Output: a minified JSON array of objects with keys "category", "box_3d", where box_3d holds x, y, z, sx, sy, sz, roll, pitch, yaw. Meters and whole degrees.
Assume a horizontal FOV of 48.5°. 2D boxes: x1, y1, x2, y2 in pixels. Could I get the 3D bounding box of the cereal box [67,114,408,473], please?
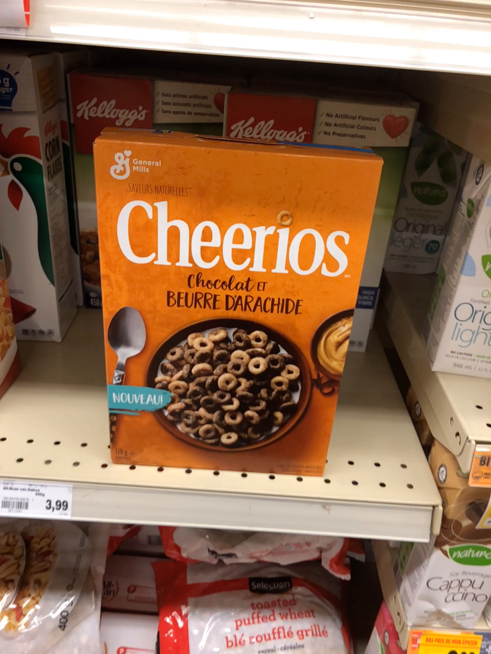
[{"category":"cereal box","box_3d":[-0.013,-0.011,0.423,0.210,0.268,0.050,4,30,-1]}]
